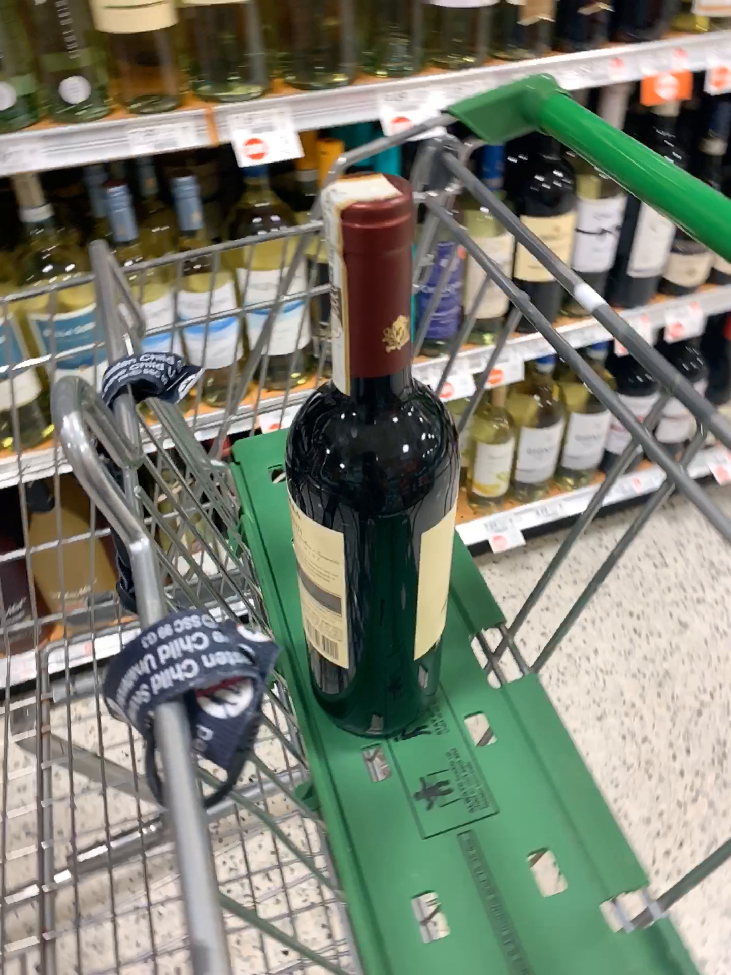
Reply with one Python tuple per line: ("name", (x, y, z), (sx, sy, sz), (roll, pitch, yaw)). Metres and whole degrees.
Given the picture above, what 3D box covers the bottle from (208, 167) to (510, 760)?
("bottle", (-0.004, 0.012, 0.338), (0.080, 0.267, 0.081), (-1, 44, 1))
